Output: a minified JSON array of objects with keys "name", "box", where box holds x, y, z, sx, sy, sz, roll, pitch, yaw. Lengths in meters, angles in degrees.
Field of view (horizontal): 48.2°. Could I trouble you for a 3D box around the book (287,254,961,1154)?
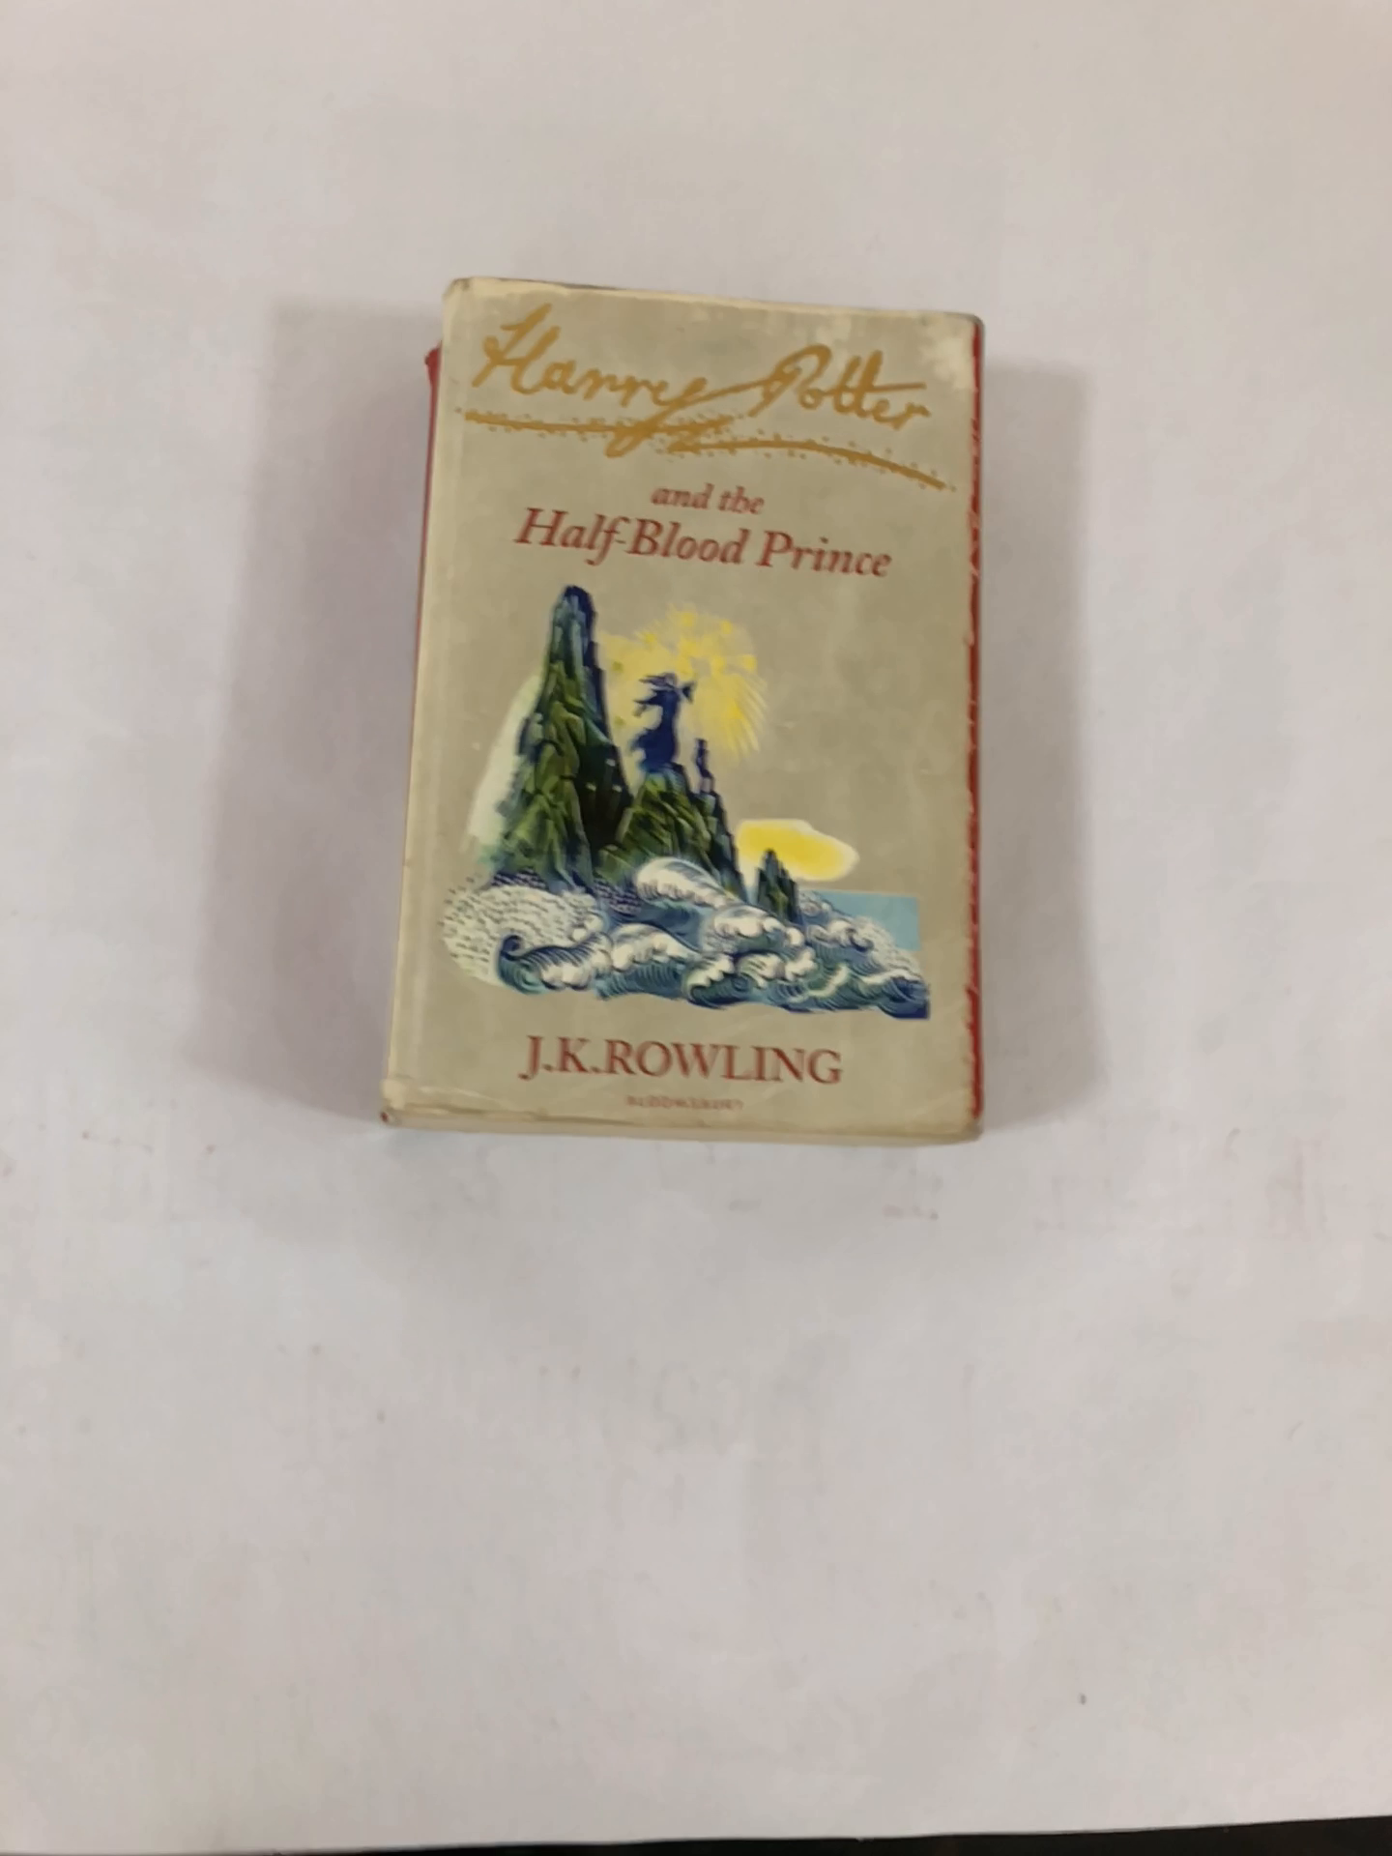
[{"name":"book","box":[-0.013,-0.045,0.340,0.129,0.050,0.181,2,79,-6]}]
